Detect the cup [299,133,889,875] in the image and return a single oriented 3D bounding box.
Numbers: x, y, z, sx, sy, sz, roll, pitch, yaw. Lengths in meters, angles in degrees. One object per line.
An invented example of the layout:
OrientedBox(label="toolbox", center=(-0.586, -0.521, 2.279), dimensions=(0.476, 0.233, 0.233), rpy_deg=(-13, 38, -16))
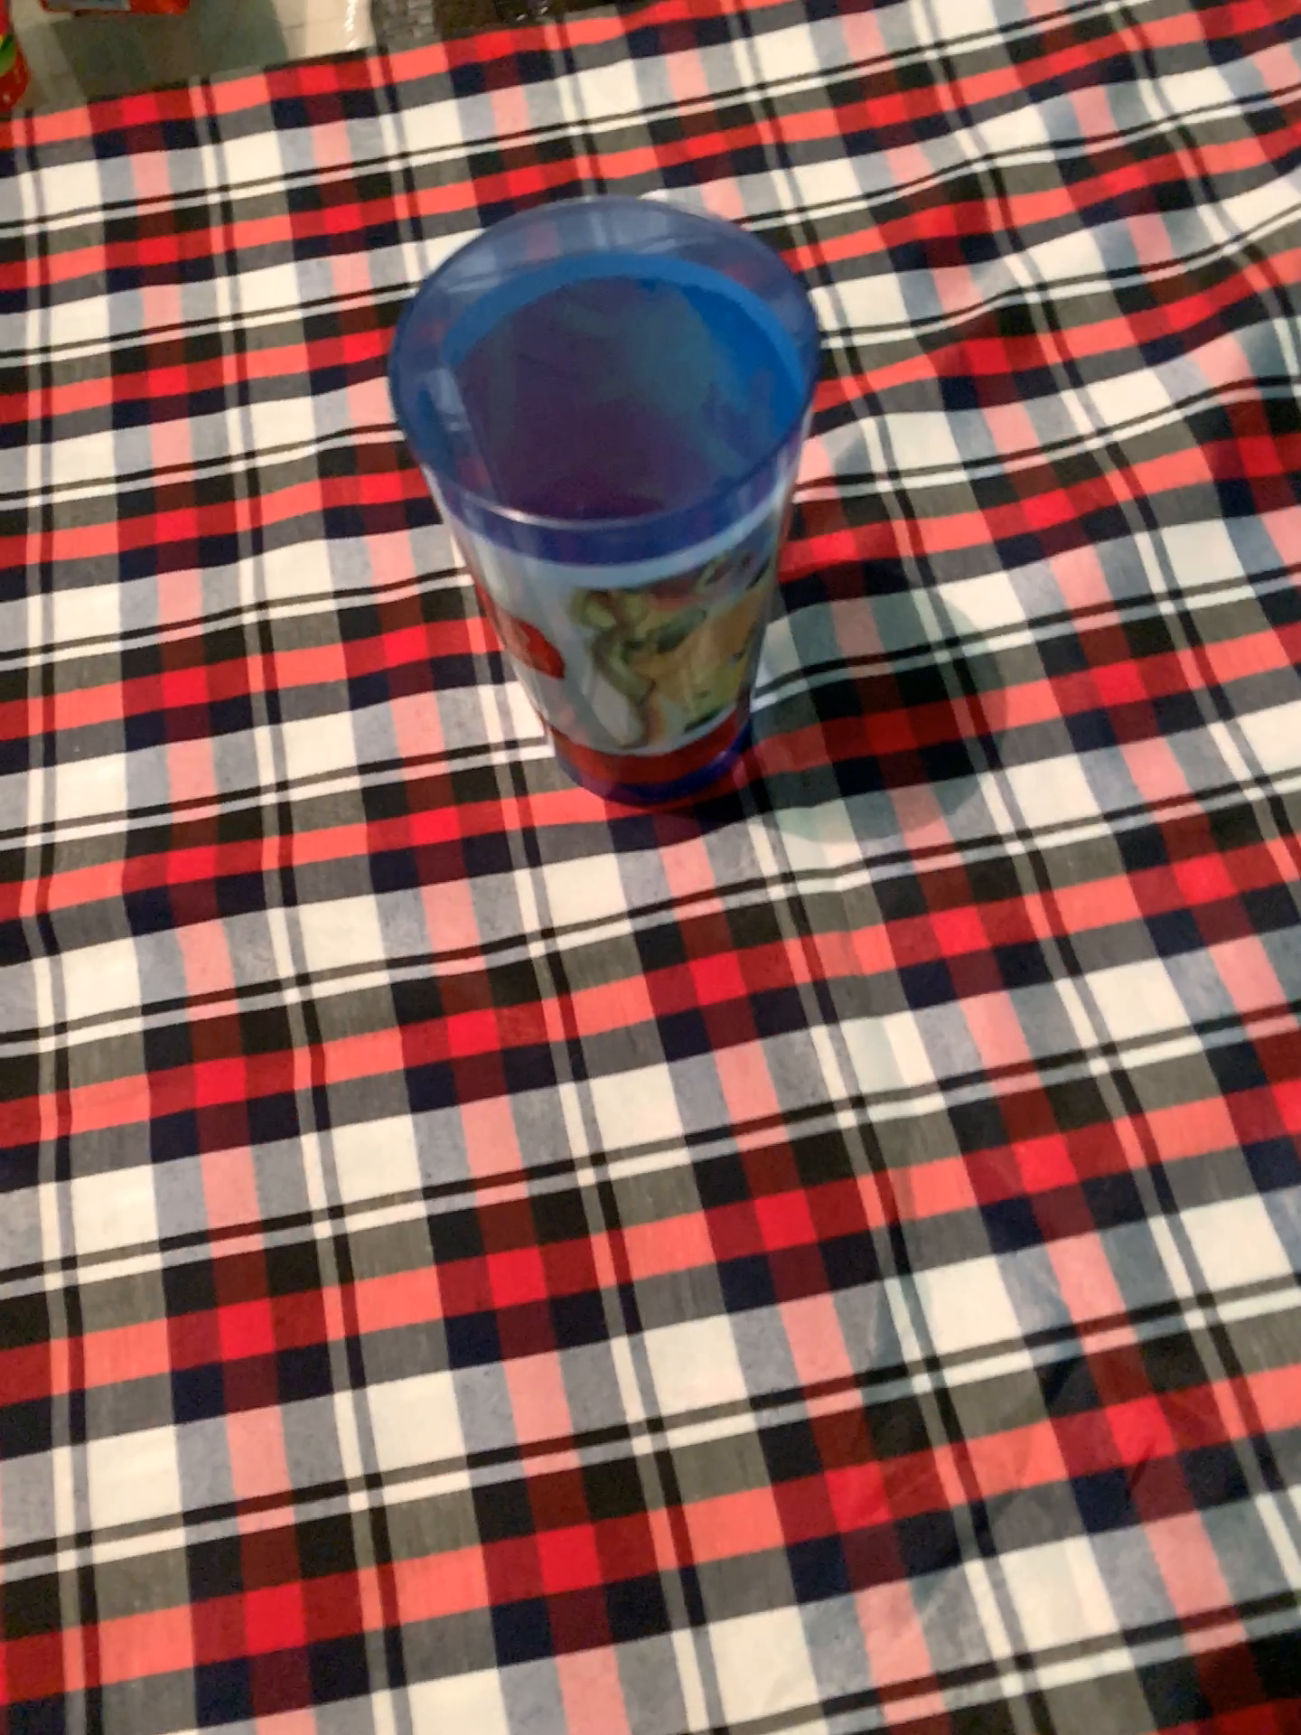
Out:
OrientedBox(label="cup", center=(-0.010, -0.080, 0.328), dimensions=(0.090, 0.130, 0.090), rpy_deg=(-1, 65, 3))
